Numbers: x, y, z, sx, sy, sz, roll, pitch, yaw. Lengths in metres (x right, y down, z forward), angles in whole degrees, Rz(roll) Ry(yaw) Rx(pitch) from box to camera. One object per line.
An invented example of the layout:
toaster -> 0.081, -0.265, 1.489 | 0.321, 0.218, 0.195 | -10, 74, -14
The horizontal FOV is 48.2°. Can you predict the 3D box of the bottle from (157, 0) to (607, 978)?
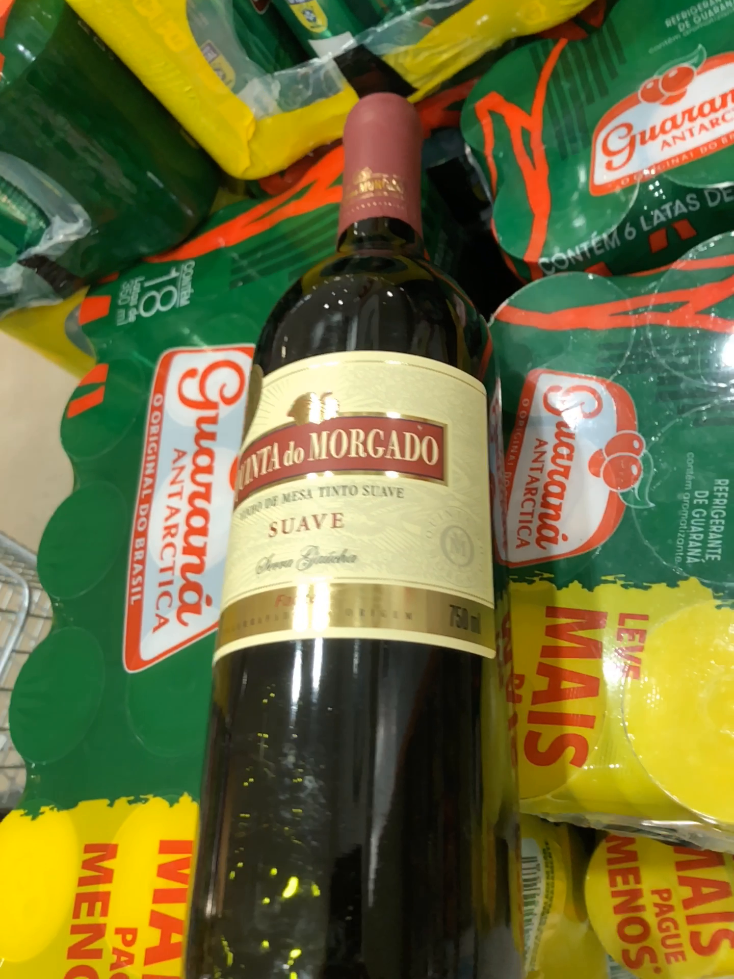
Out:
bottle -> 0.009, -0.009, 0.228 | 0.080, 0.070, 0.271 | -5, 66, 12
